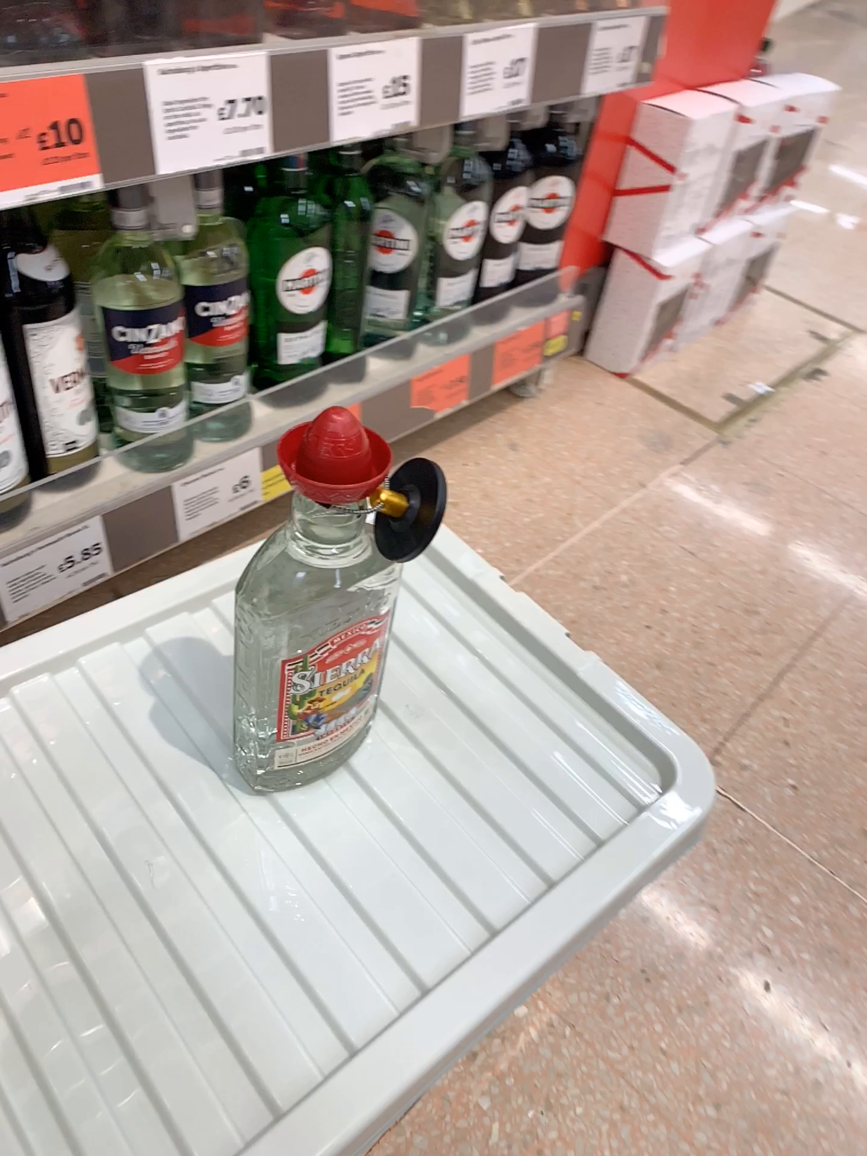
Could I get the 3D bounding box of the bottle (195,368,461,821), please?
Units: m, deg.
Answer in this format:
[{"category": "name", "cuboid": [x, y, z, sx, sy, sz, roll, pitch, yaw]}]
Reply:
[{"category": "bottle", "cuboid": [-0.063, 0.019, 0.475, 0.103, 0.240, 0.058, -25, 54, -33]}]
